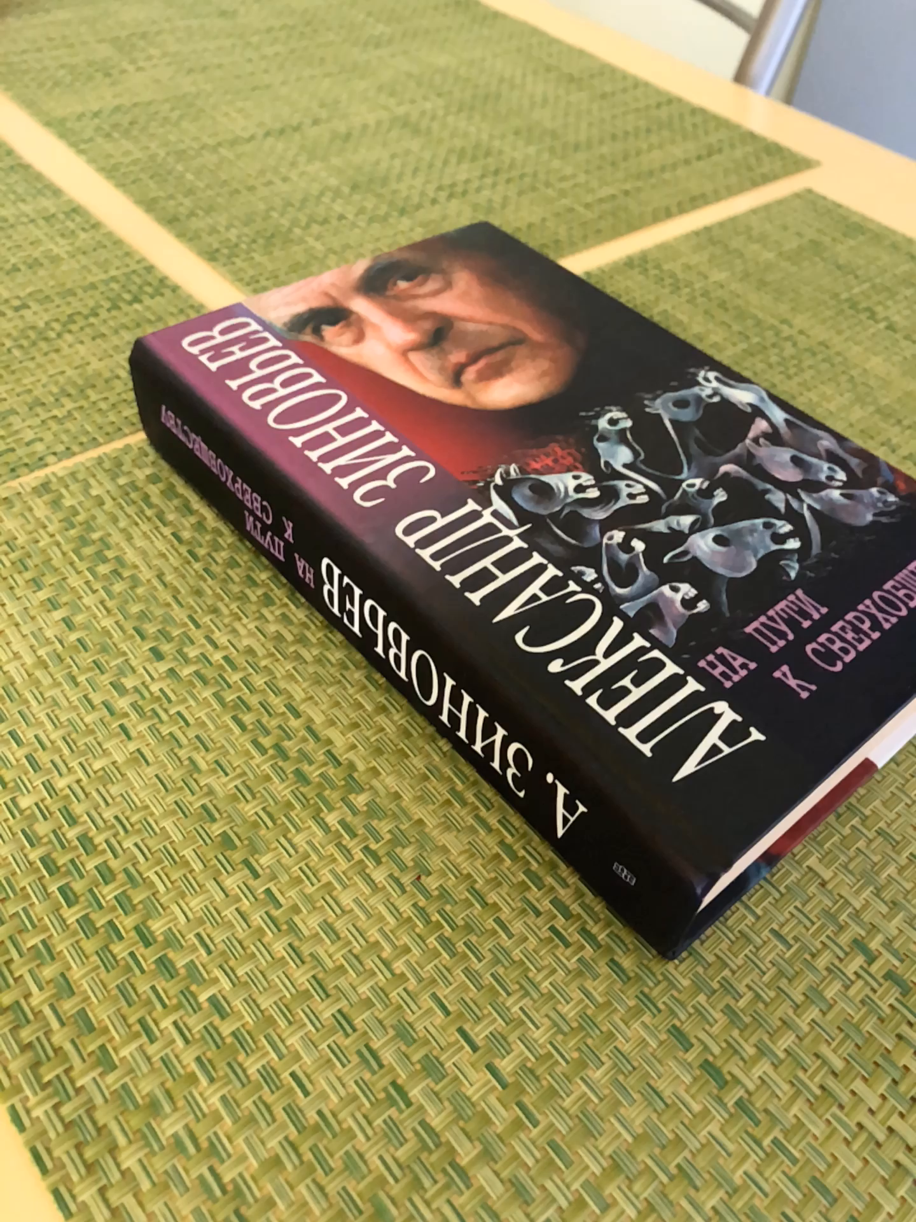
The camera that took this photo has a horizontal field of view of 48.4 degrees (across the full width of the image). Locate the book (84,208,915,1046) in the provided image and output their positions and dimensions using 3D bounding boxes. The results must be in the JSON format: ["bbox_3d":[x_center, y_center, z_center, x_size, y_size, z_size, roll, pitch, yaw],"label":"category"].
[{"bbox_3d":[0.027,-0.025,0.258,0.151,0.040,0.201,-30,57,-30],"label":"book"}]
